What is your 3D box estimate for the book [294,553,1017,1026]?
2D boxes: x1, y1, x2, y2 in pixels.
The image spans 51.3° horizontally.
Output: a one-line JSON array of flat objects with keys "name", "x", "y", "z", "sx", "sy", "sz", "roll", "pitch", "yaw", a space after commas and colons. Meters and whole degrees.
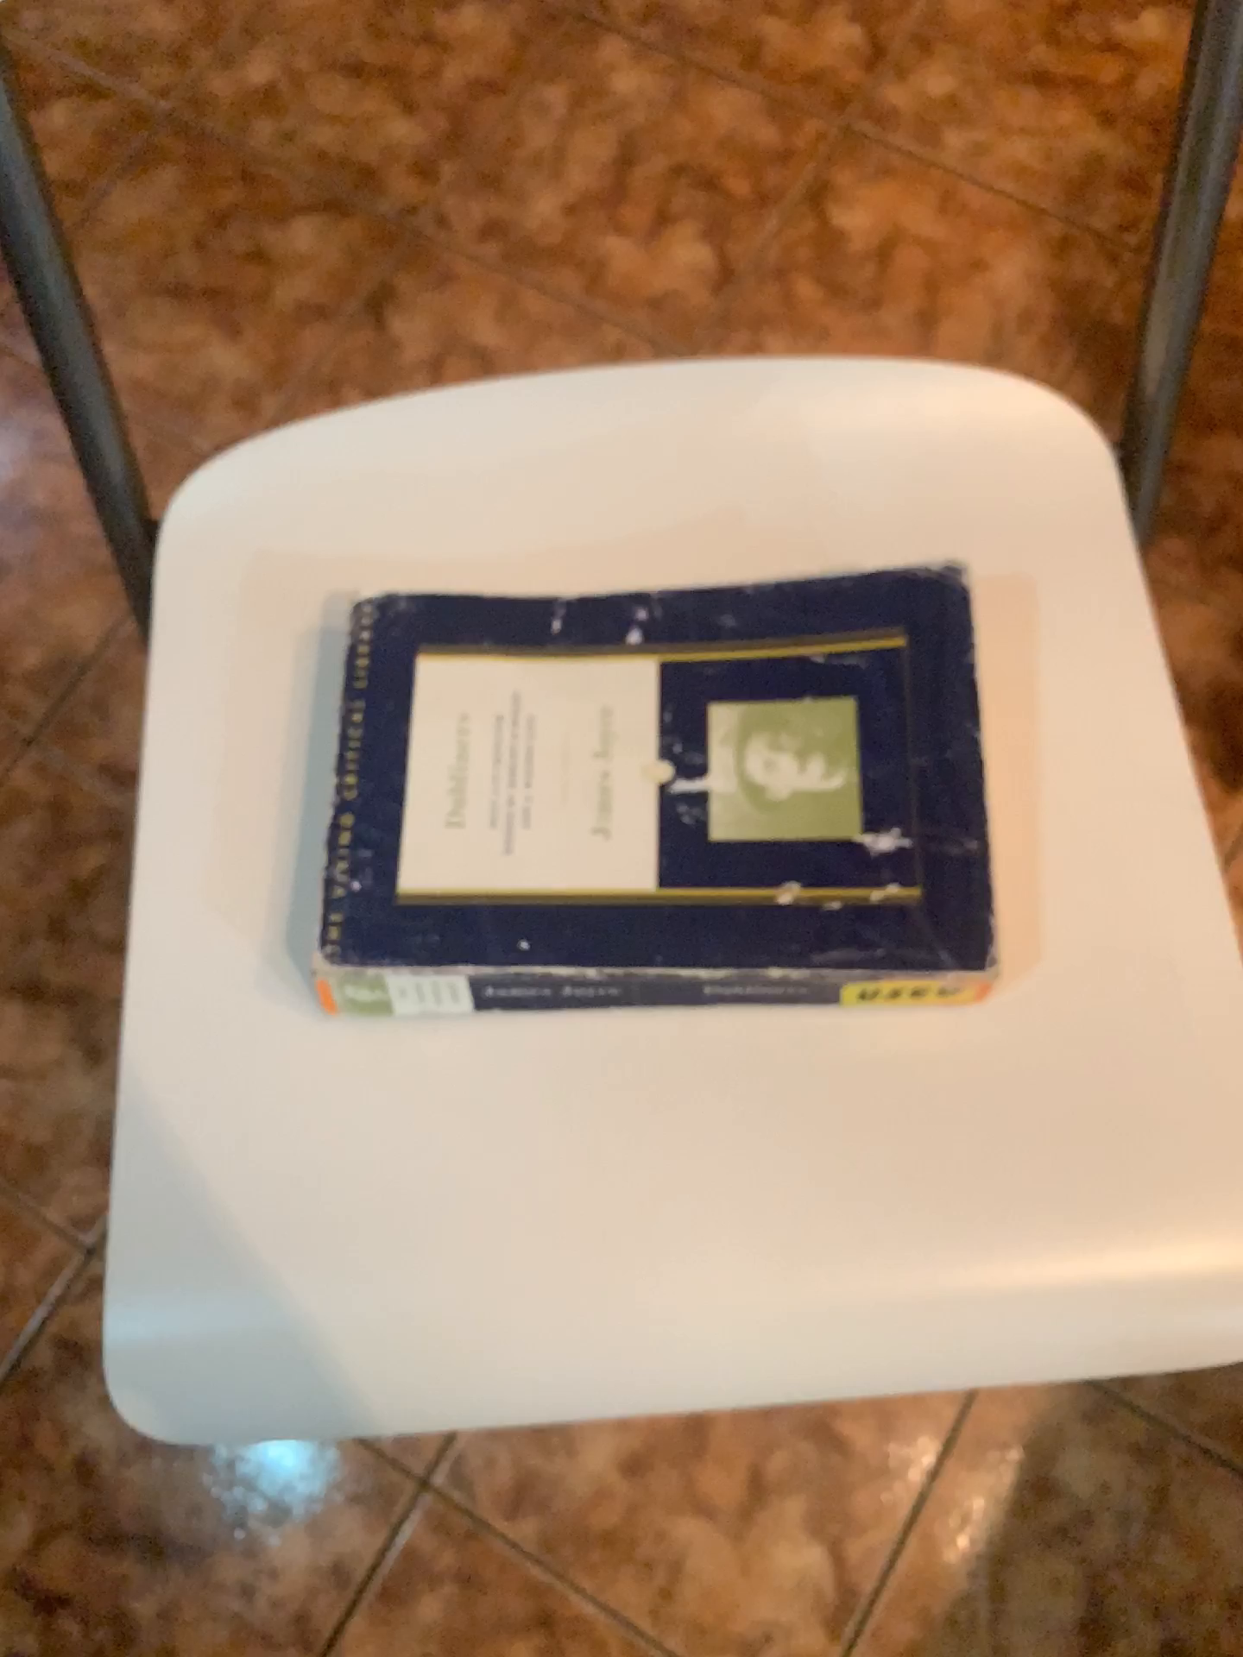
[{"name": "book", "x": 0.008, "y": -0.012, "z": 0.389, "sx": 0.197, "sy": 0.035, "sz": 0.132, "roll": -2, "pitch": 72, "yaw": 2}]
